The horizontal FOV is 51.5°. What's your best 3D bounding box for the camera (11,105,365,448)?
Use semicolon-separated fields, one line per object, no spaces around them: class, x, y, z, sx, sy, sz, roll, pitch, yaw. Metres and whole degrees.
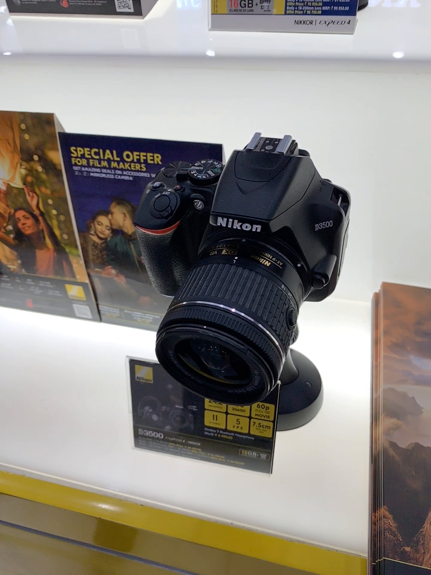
camera;0.004;-0.021;0.223;0.110;0.070;0.150;11;48;16
